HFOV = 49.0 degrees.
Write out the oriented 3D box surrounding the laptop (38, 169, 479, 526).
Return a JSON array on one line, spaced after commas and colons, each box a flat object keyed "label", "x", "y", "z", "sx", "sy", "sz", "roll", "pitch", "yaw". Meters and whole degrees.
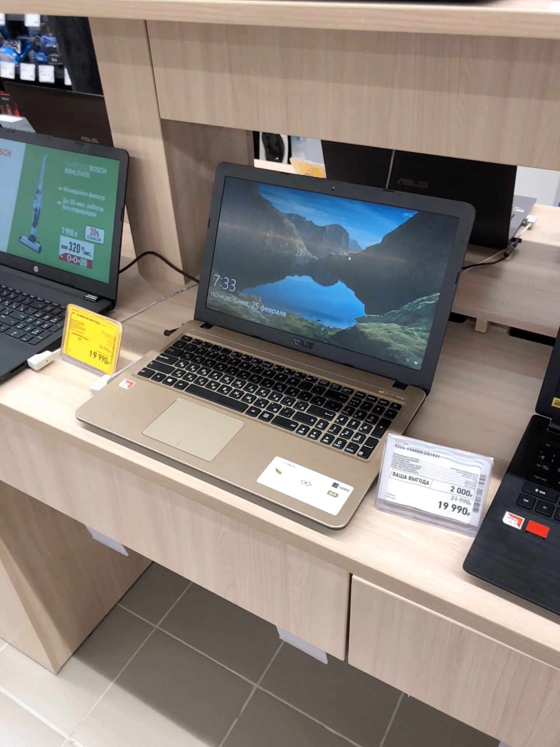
[{"label": "laptop", "x": -0.007, "y": -0.071, "z": 0.765, "sx": 0.366, "sy": 0.208, "sz": 0.351, "roll": 17, "pitch": 41, "yaw": 26}]
